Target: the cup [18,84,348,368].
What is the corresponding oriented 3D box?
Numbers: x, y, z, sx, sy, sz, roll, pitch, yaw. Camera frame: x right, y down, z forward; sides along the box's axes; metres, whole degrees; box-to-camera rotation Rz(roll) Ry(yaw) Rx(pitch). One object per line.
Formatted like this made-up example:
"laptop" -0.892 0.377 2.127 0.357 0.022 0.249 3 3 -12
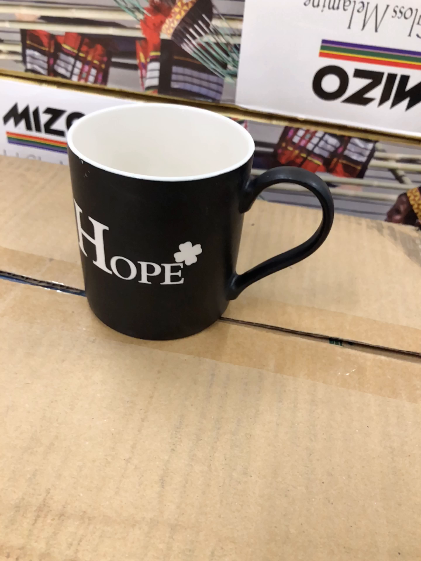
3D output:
"cup" -0.009 -0.030 0.232 0.120 0.089 0.091 8 39 2
